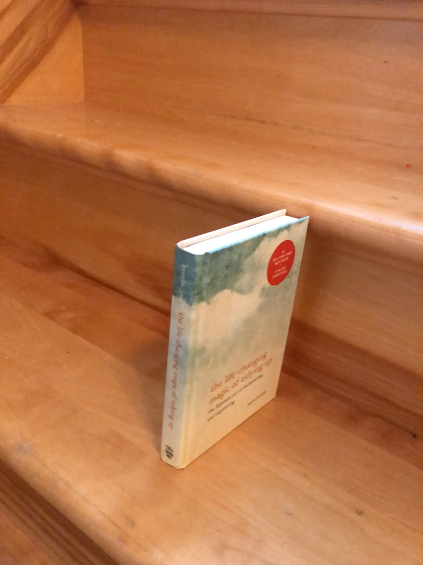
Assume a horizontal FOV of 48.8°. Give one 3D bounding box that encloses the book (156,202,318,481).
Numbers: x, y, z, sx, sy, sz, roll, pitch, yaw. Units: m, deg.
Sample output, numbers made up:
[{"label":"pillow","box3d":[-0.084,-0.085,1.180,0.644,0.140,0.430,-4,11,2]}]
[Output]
[{"label":"book","box3d":[0.021,0.045,0.384,0.027,0.199,0.140,26,33,35]}]
